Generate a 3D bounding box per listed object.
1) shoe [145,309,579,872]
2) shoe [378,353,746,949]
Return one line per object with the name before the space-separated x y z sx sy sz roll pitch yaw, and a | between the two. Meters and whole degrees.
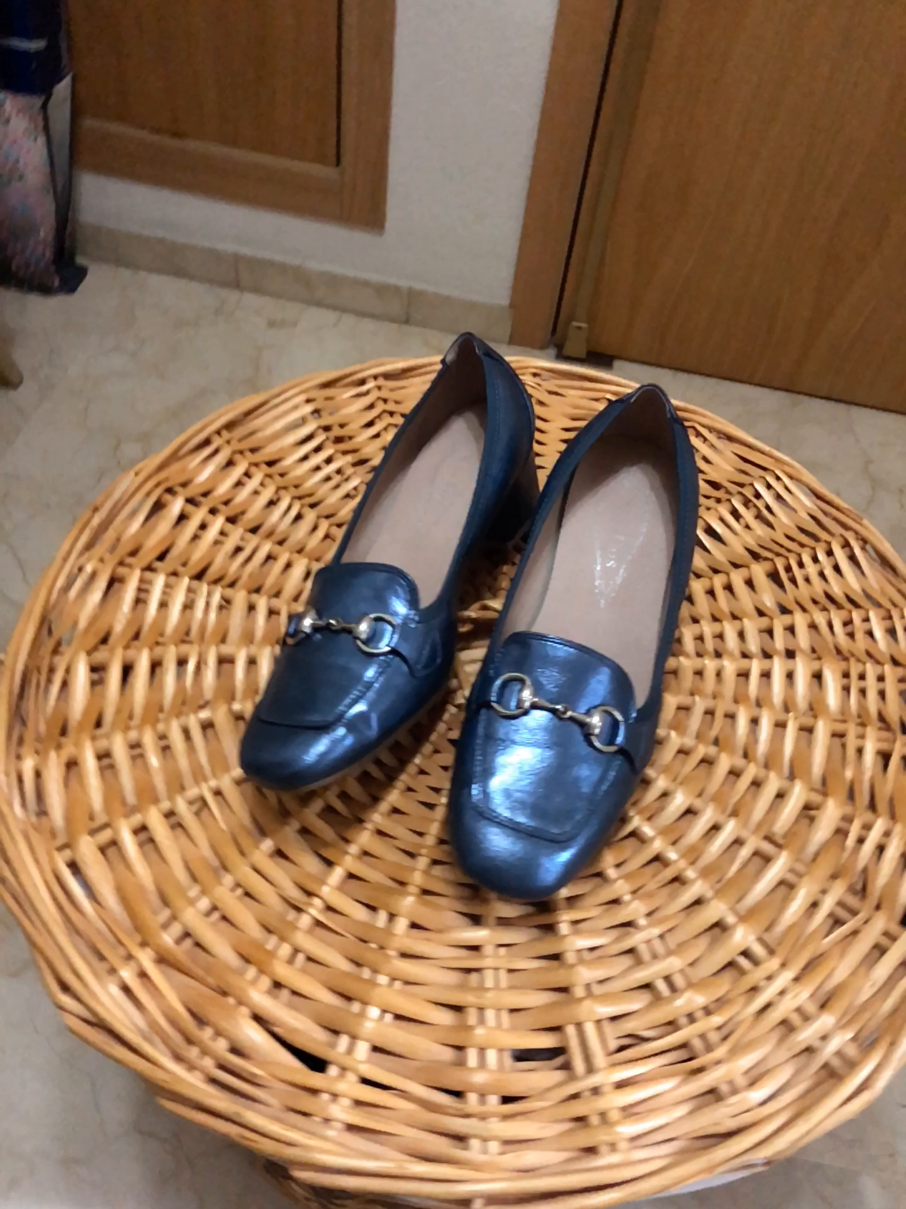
shoe | -0.030 -0.014 0.498 0.100 0.090 0.251 18 66 18
shoe | 0.061 0.013 0.482 0.090 0.090 0.261 15 63 15
